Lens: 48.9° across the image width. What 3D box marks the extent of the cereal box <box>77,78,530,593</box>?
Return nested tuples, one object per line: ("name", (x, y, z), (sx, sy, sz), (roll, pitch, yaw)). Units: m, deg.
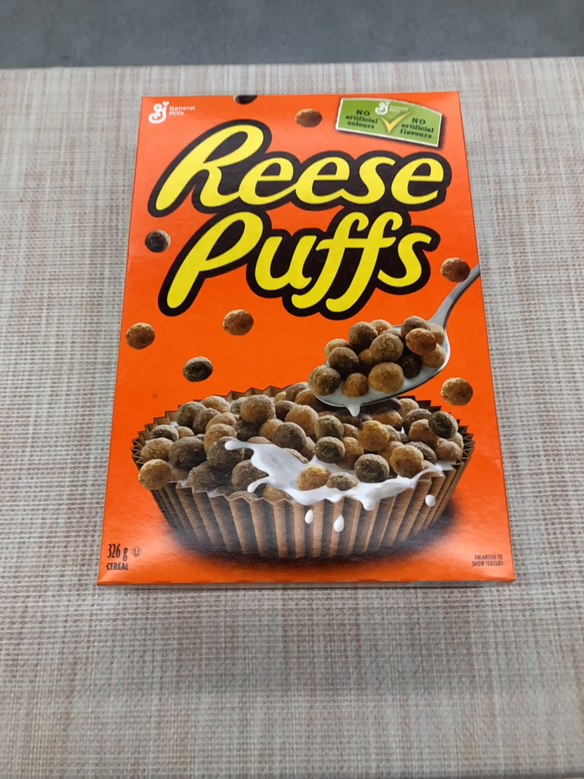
("cereal box", (0.003, -0.036, 0.356), (0.200, 0.060, 0.281), (0, 72, -2))
